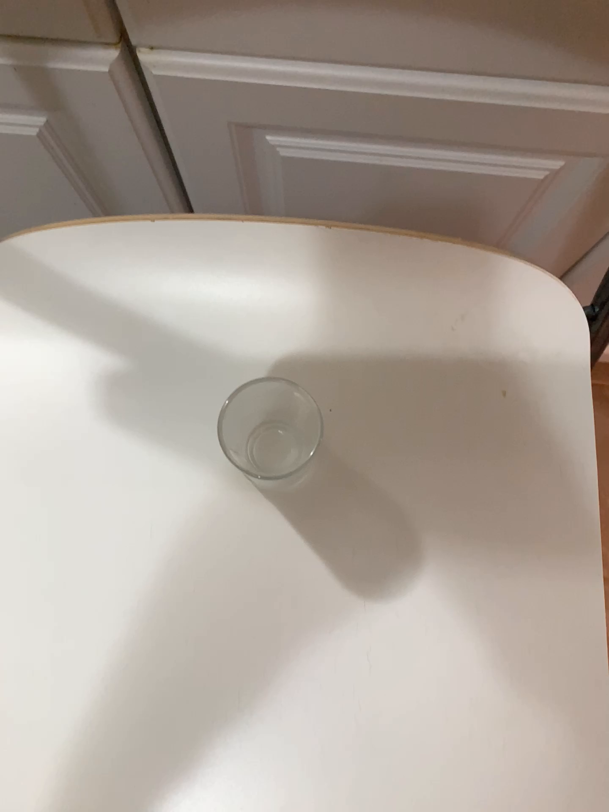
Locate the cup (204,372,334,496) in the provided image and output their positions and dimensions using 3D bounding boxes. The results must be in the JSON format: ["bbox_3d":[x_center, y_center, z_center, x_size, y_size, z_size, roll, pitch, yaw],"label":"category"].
[{"bbox_3d":[-0.014,0.016,0.286,0.049,0.076,0.042,3,78,1],"label":"cup"}]
